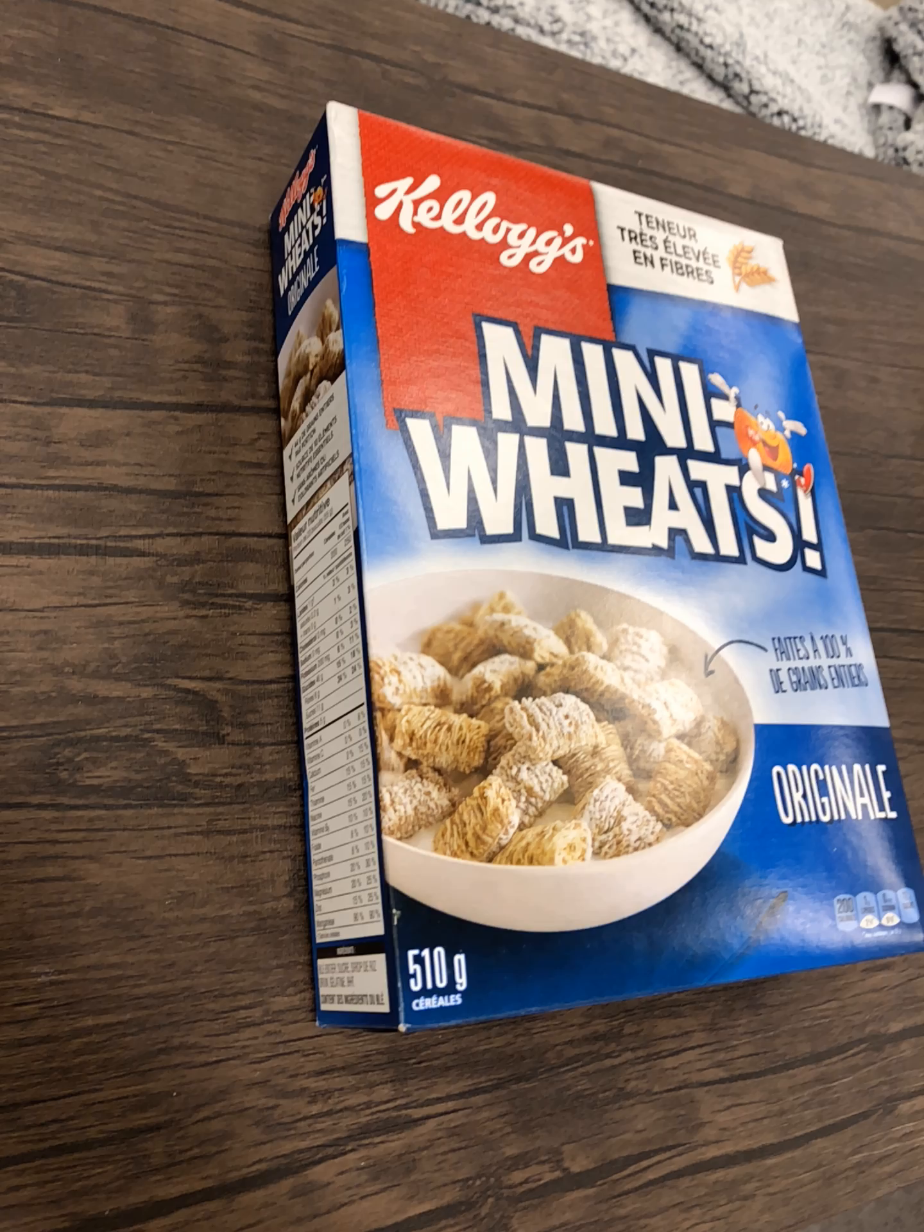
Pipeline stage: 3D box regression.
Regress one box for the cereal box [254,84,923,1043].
[{"bbox_3d":[0.057,-0.017,0.346,0.231,0.060,0.270,4,68,-28],"label":"cereal box"}]
